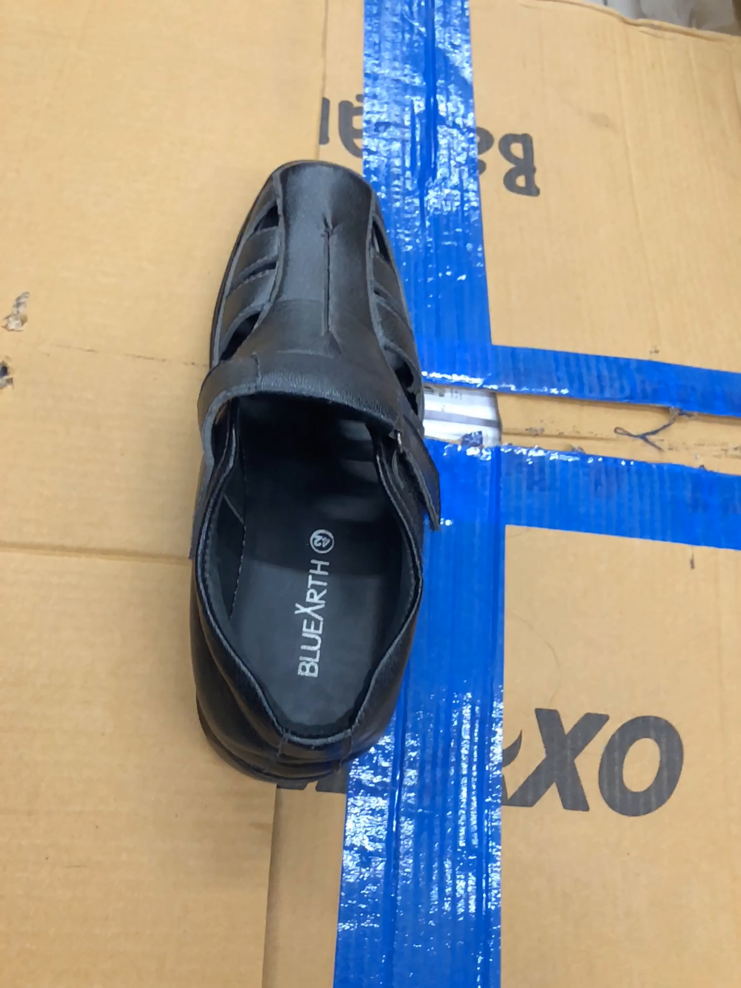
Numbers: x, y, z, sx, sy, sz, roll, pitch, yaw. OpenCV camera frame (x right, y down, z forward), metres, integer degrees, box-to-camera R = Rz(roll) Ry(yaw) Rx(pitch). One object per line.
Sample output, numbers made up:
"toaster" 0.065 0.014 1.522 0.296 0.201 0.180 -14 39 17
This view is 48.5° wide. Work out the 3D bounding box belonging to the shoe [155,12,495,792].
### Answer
"shoe" -0.020 -0.038 0.340 0.100 0.100 0.301 4 68 -10
